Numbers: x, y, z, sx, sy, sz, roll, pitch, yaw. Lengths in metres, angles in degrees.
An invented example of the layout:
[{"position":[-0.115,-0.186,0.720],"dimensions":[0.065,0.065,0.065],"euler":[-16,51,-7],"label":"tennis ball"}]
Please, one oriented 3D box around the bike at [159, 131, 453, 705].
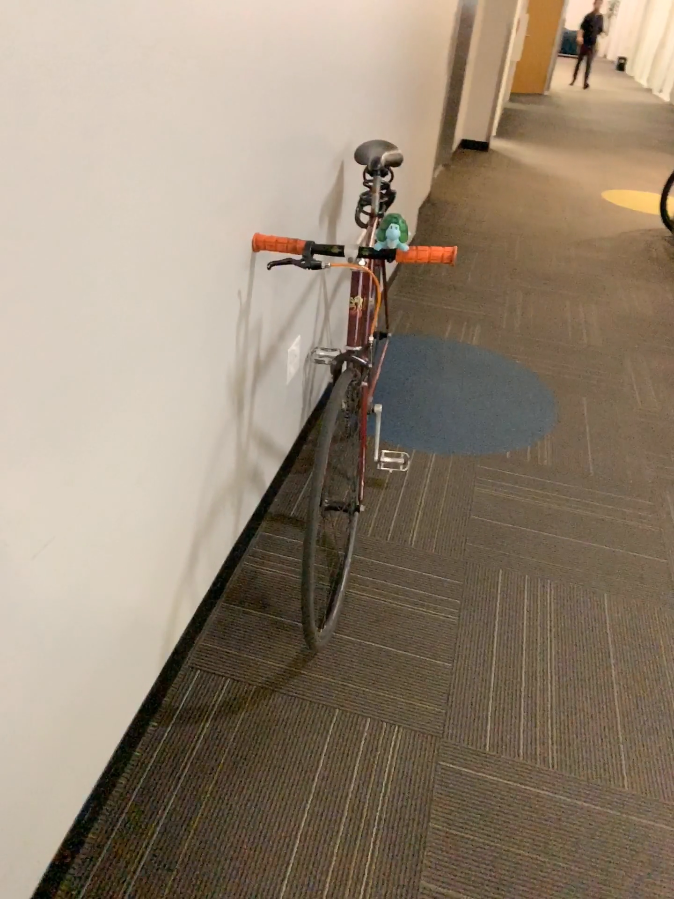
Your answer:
[{"position":[0.017,-0.274,1.972],"dimensions":[0.448,0.909,1.636],"euler":[9,33,3],"label":"bike"}]
